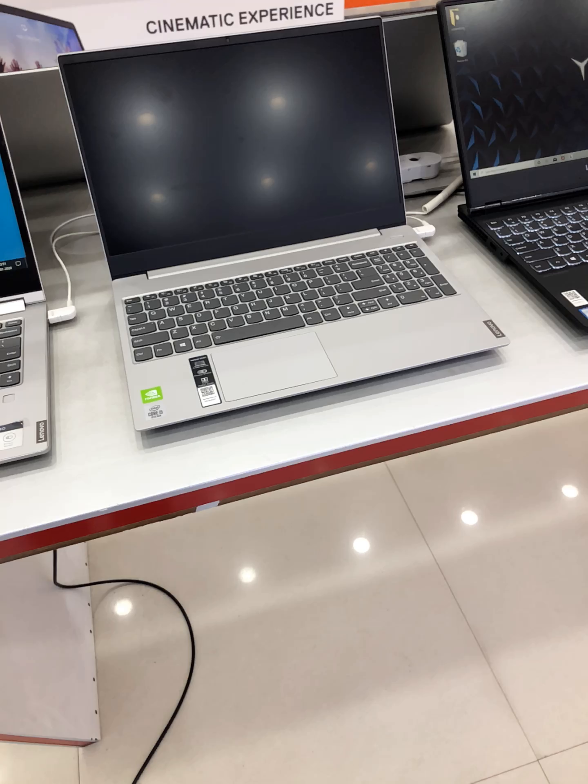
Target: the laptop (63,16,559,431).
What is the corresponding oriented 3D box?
[{"bbox_3d":[-0.017,-0.192,0.625,0.342,0.196,0.346,-13,44,-11],"label":"laptop"}]
